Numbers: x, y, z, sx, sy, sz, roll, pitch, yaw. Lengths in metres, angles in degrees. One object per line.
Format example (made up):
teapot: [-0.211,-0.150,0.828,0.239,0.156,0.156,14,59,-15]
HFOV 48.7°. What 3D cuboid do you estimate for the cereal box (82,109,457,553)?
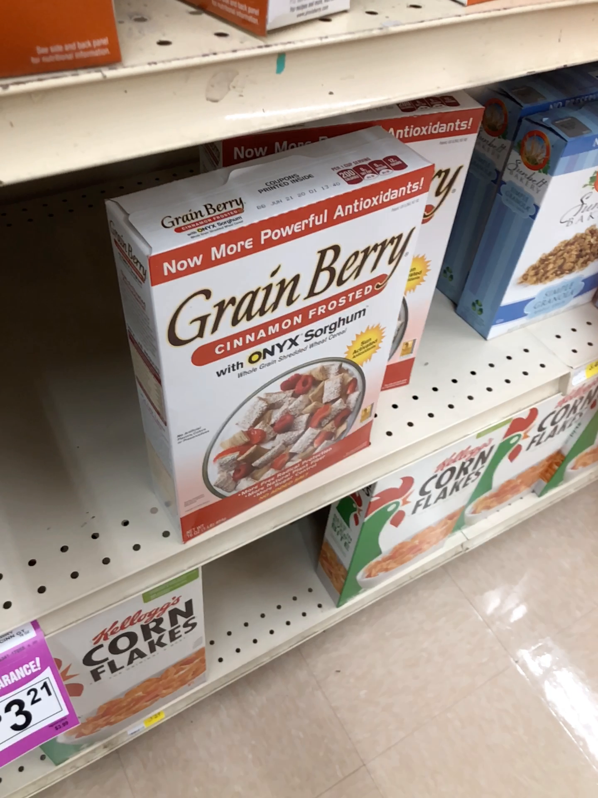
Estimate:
cereal box: [-0.021,-0.033,0.468,0.200,0.280,0.070,-25,56,-25]
